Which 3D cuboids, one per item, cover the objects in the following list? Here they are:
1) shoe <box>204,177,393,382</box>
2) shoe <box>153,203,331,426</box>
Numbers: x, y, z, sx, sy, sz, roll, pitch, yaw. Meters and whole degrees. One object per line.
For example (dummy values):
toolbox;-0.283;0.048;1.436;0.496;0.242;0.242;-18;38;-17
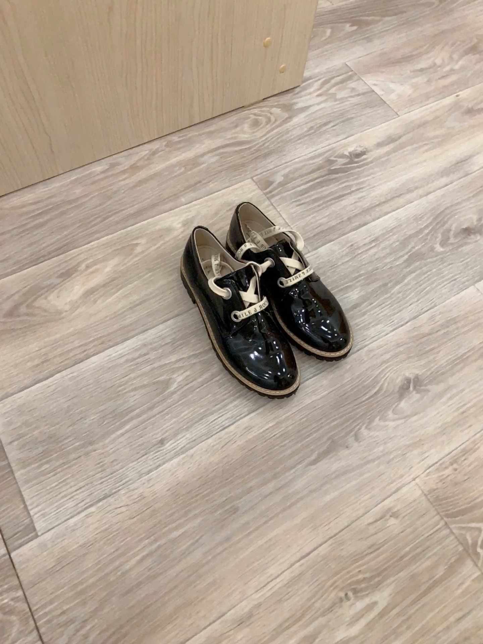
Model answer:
shoe;0.067;-0.064;0.699;0.100;0.100;0.270;-32;69;-20
shoe;-0.009;-0.015;0.662;0.100;0.100;0.270;-26;67;-17
